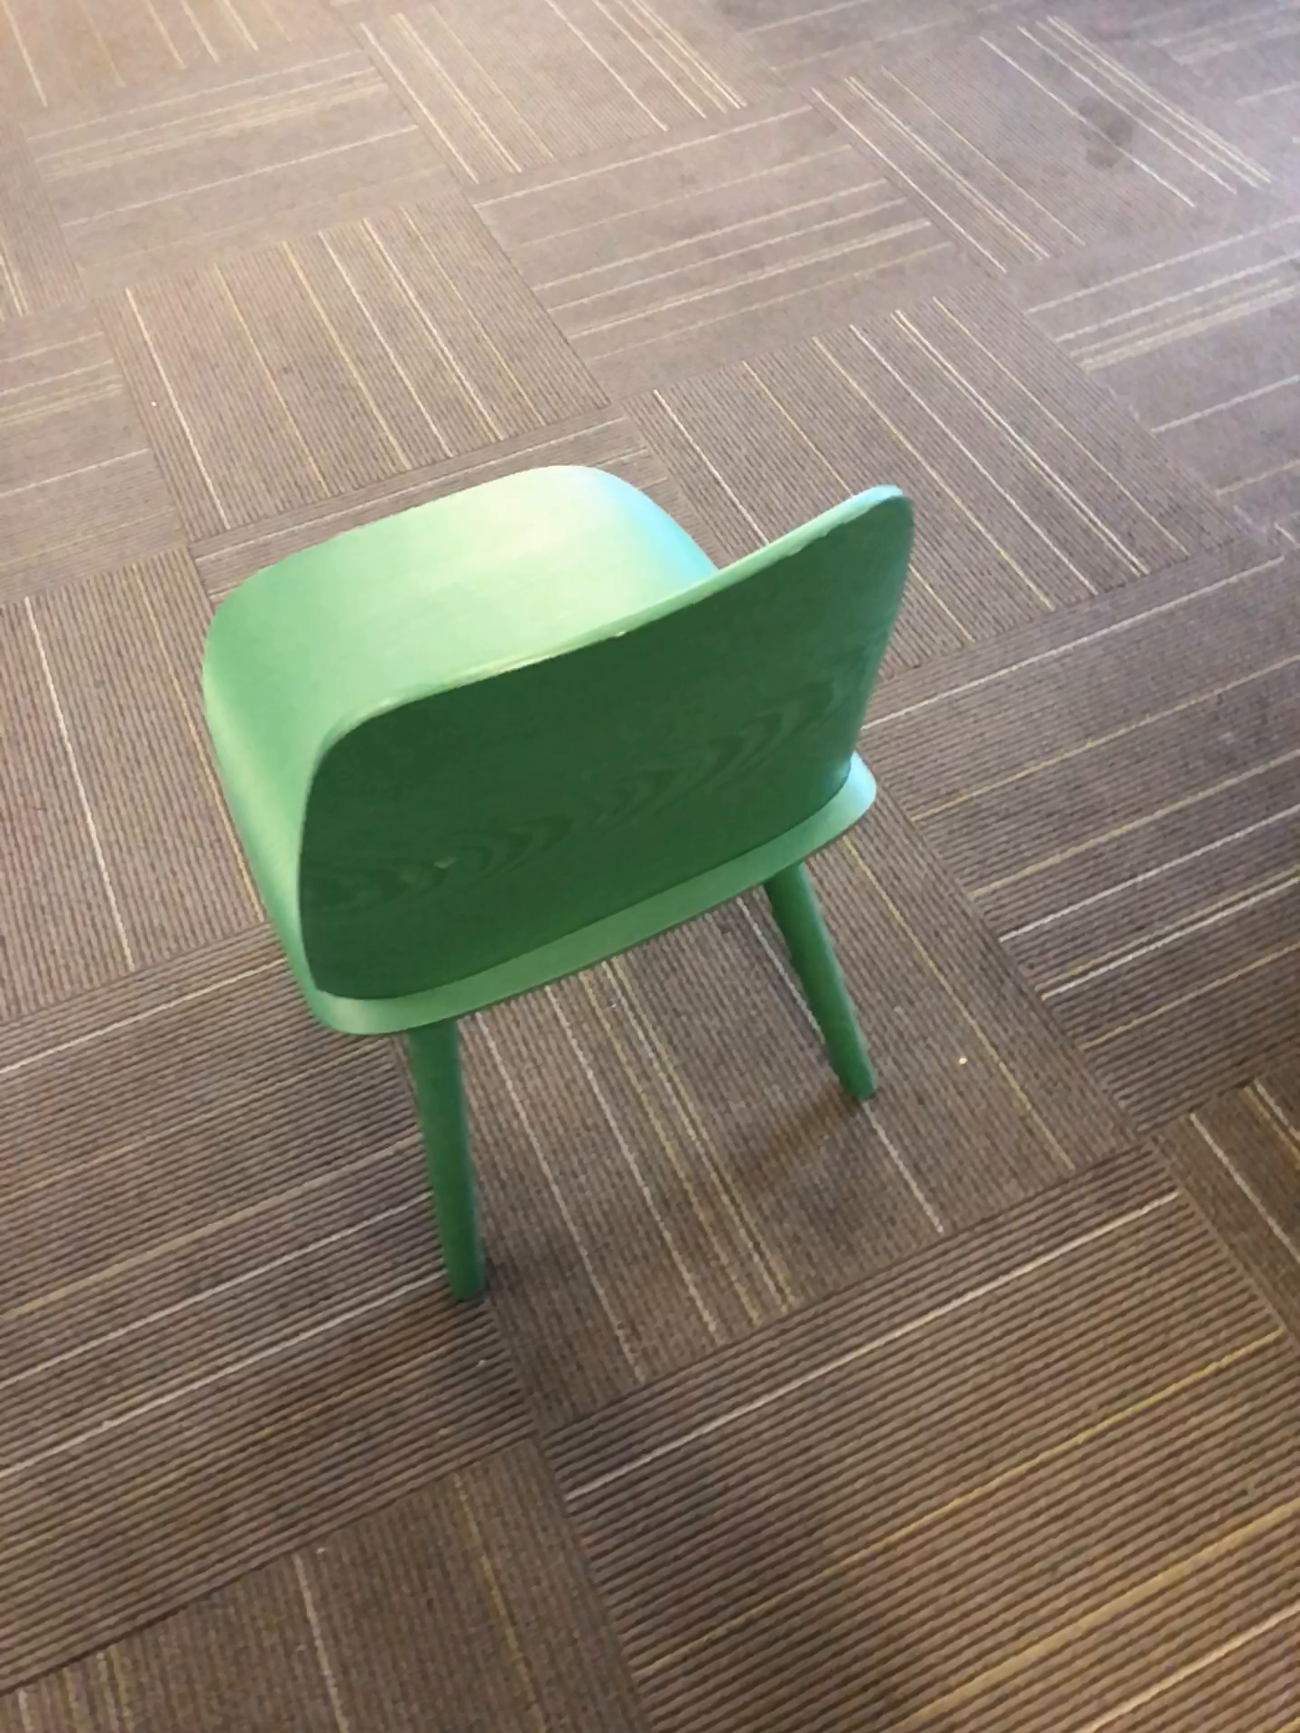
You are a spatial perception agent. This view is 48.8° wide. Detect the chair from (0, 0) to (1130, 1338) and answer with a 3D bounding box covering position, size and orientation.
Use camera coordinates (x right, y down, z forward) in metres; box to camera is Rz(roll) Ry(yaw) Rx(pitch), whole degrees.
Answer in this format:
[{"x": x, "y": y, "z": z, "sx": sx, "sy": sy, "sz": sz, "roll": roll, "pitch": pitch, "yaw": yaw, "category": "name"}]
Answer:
[{"x": -0.090, "y": -0.112, "z": 1.069, "sx": 0.500, "sy": 0.777, "sz": 0.502, "roll": -24, "pitch": 56, "yaw": -13, "category": "chair"}]
